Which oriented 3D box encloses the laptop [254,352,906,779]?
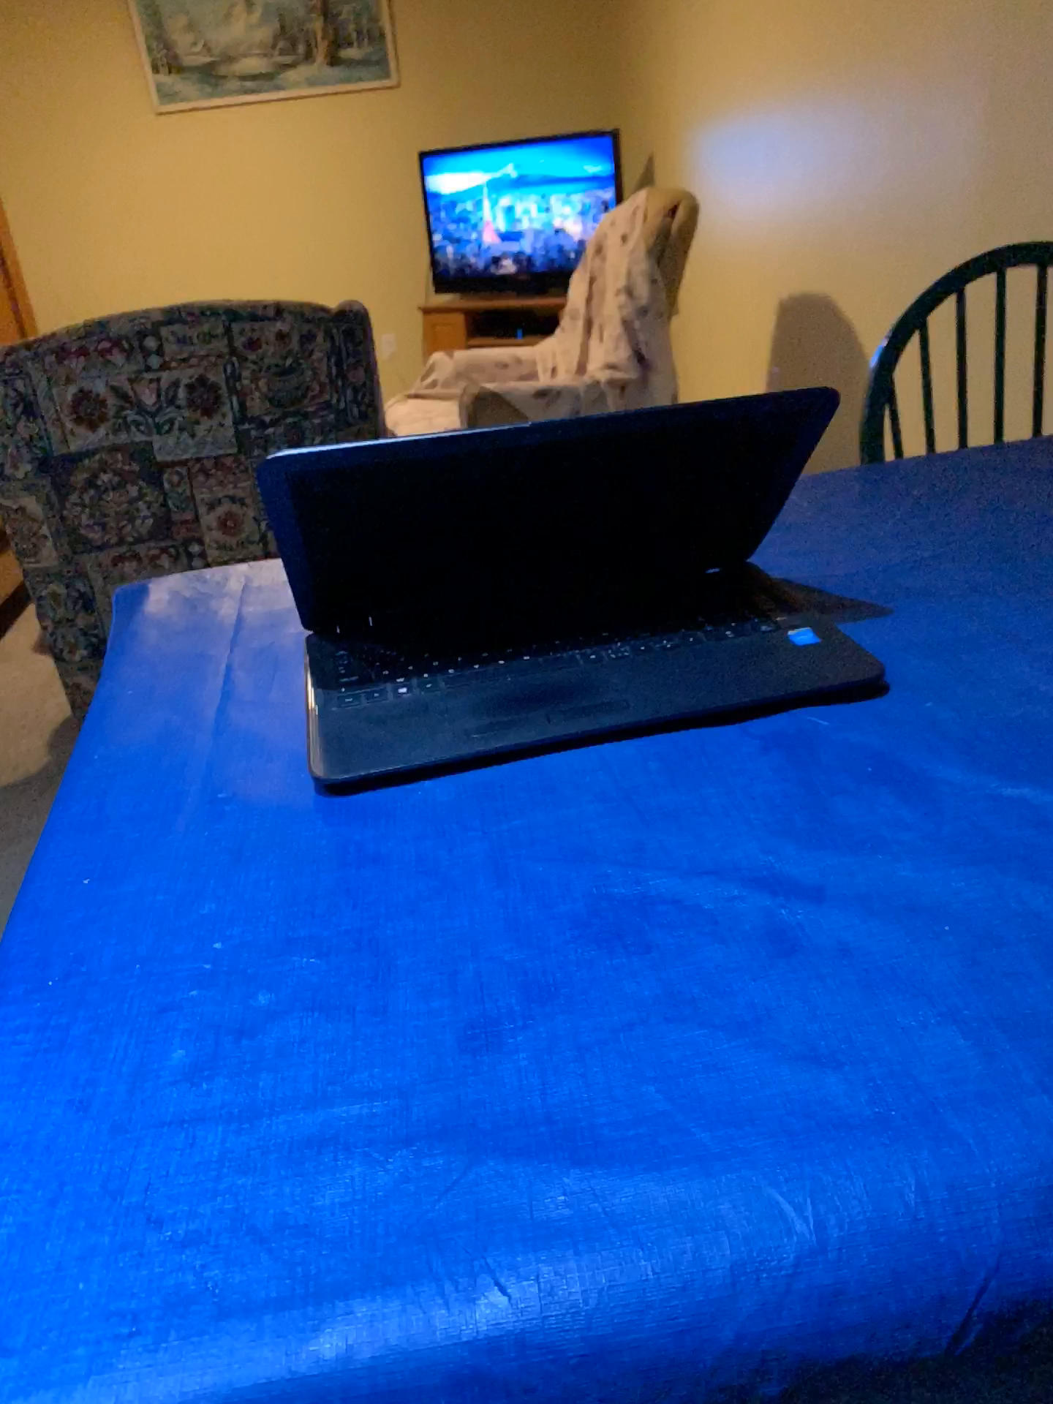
[{"bbox_3d":[0.020,-0.114,0.746,0.370,0.167,0.253,-10,26,-7],"label":"laptop"}]
